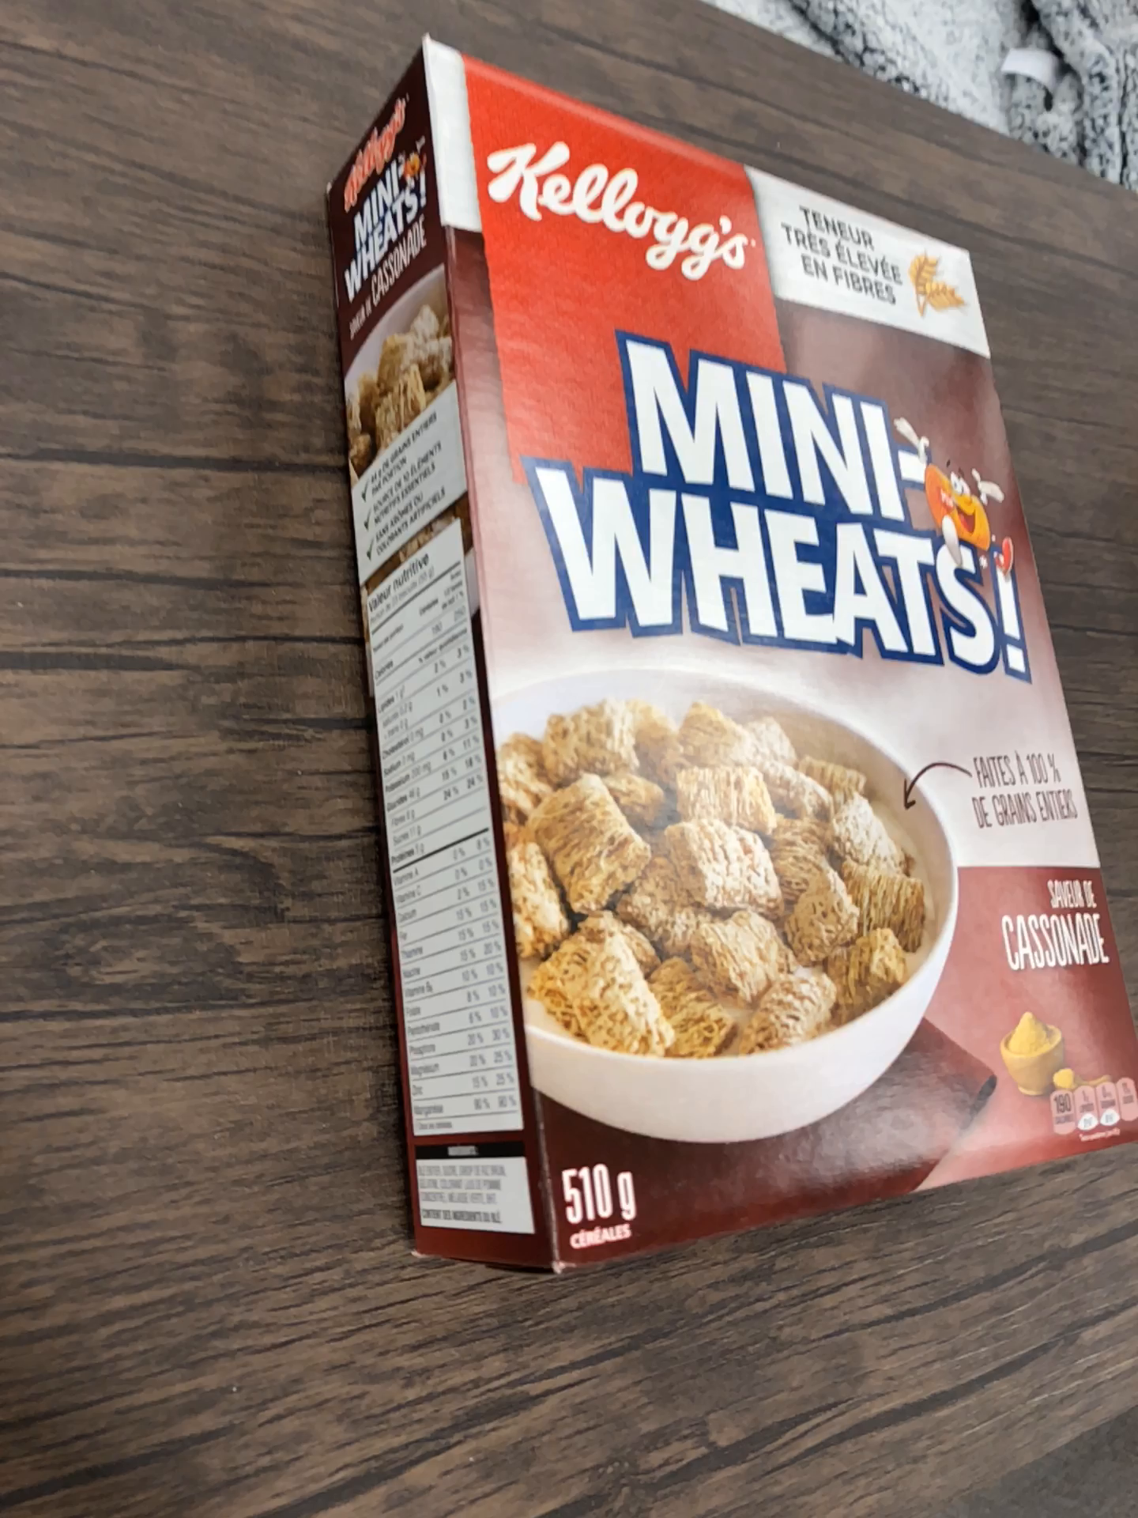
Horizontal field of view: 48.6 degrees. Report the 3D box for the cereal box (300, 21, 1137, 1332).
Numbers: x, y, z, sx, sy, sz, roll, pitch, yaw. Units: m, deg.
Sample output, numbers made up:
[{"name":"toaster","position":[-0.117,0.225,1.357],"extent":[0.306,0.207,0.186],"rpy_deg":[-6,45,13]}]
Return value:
[{"name":"cereal box","position":[0.051,-0.020,0.320],"extent":[0.211,0.060,0.260],"rpy_deg":[3,73,-34]}]
